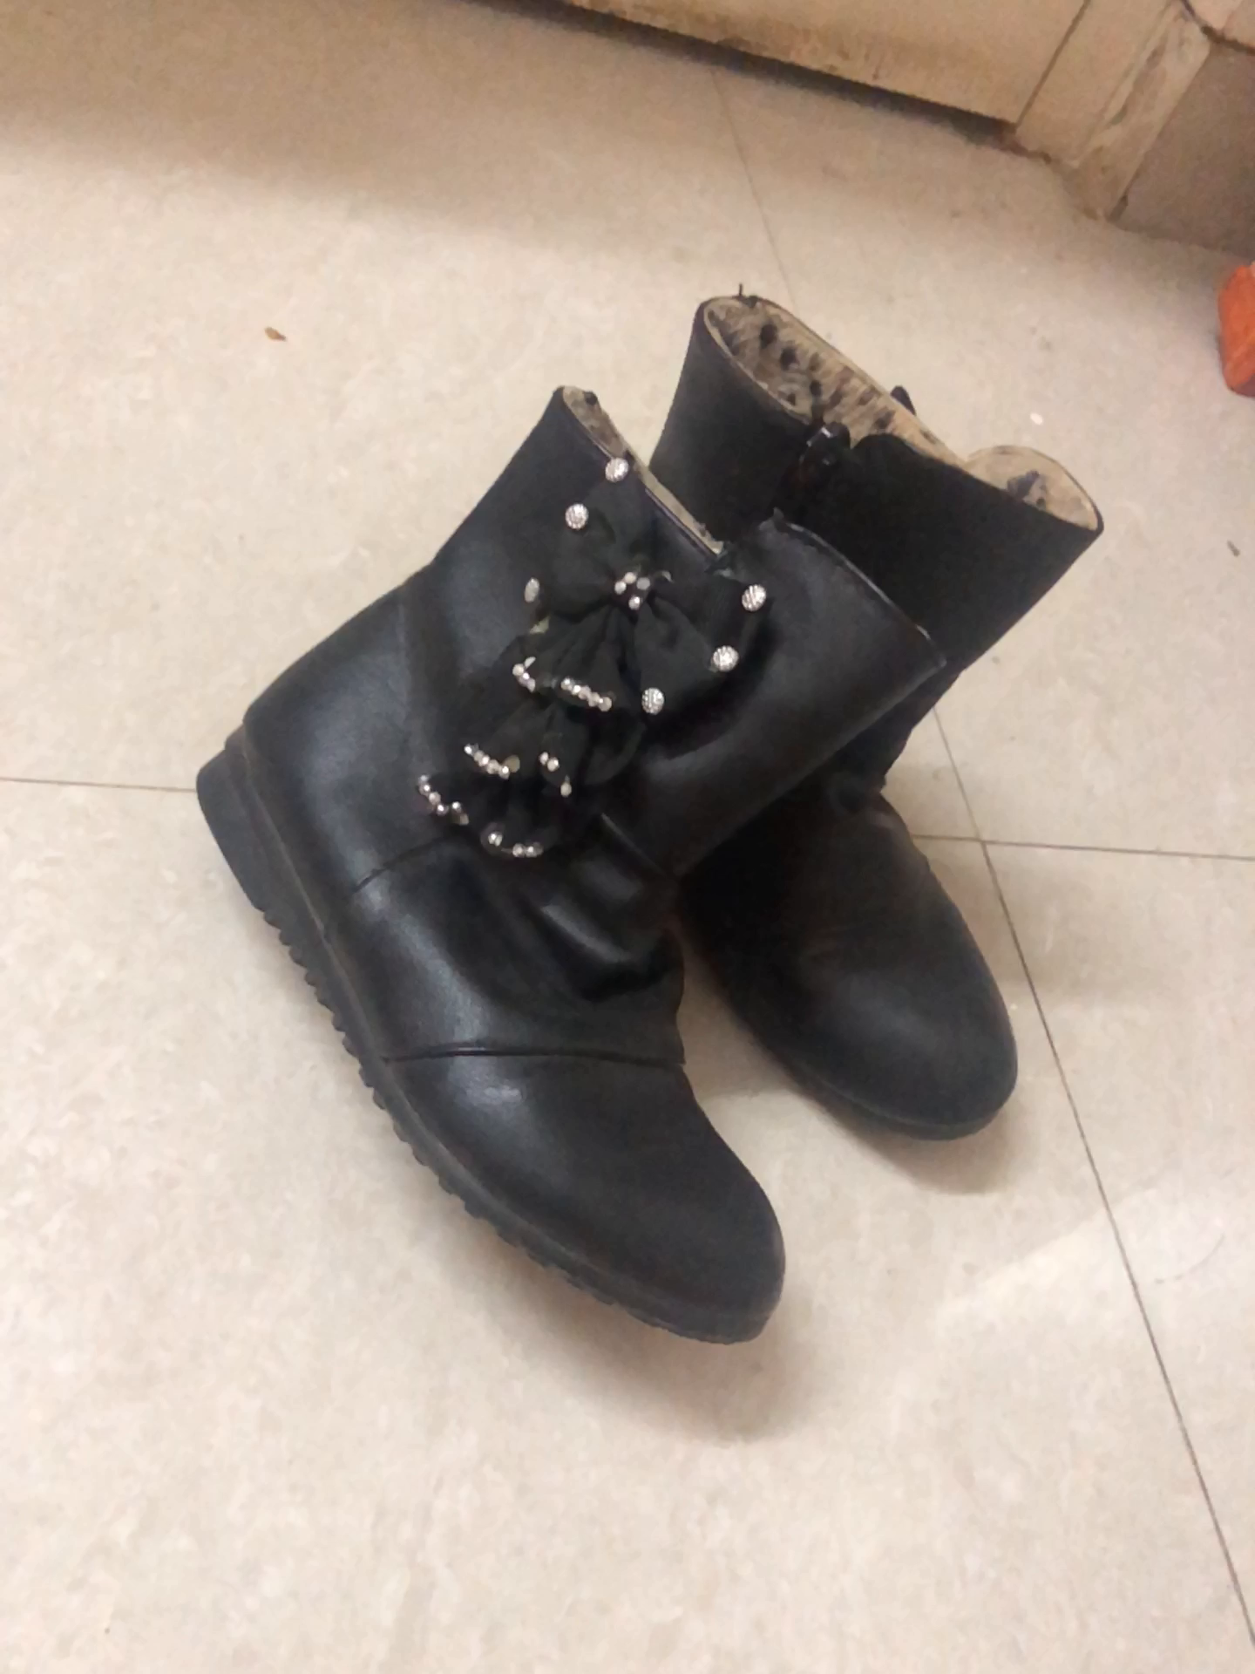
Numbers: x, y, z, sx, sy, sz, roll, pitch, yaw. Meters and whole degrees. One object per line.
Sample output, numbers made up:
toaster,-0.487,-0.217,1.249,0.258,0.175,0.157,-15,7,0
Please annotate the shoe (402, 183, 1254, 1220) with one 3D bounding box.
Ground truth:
shoe,0.051,-0.038,0.367,0.090,0.139,0.220,-26,68,-35

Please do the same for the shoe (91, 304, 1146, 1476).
shoe,-0.007,0.008,0.330,0.200,0.139,0.090,53,19,19
